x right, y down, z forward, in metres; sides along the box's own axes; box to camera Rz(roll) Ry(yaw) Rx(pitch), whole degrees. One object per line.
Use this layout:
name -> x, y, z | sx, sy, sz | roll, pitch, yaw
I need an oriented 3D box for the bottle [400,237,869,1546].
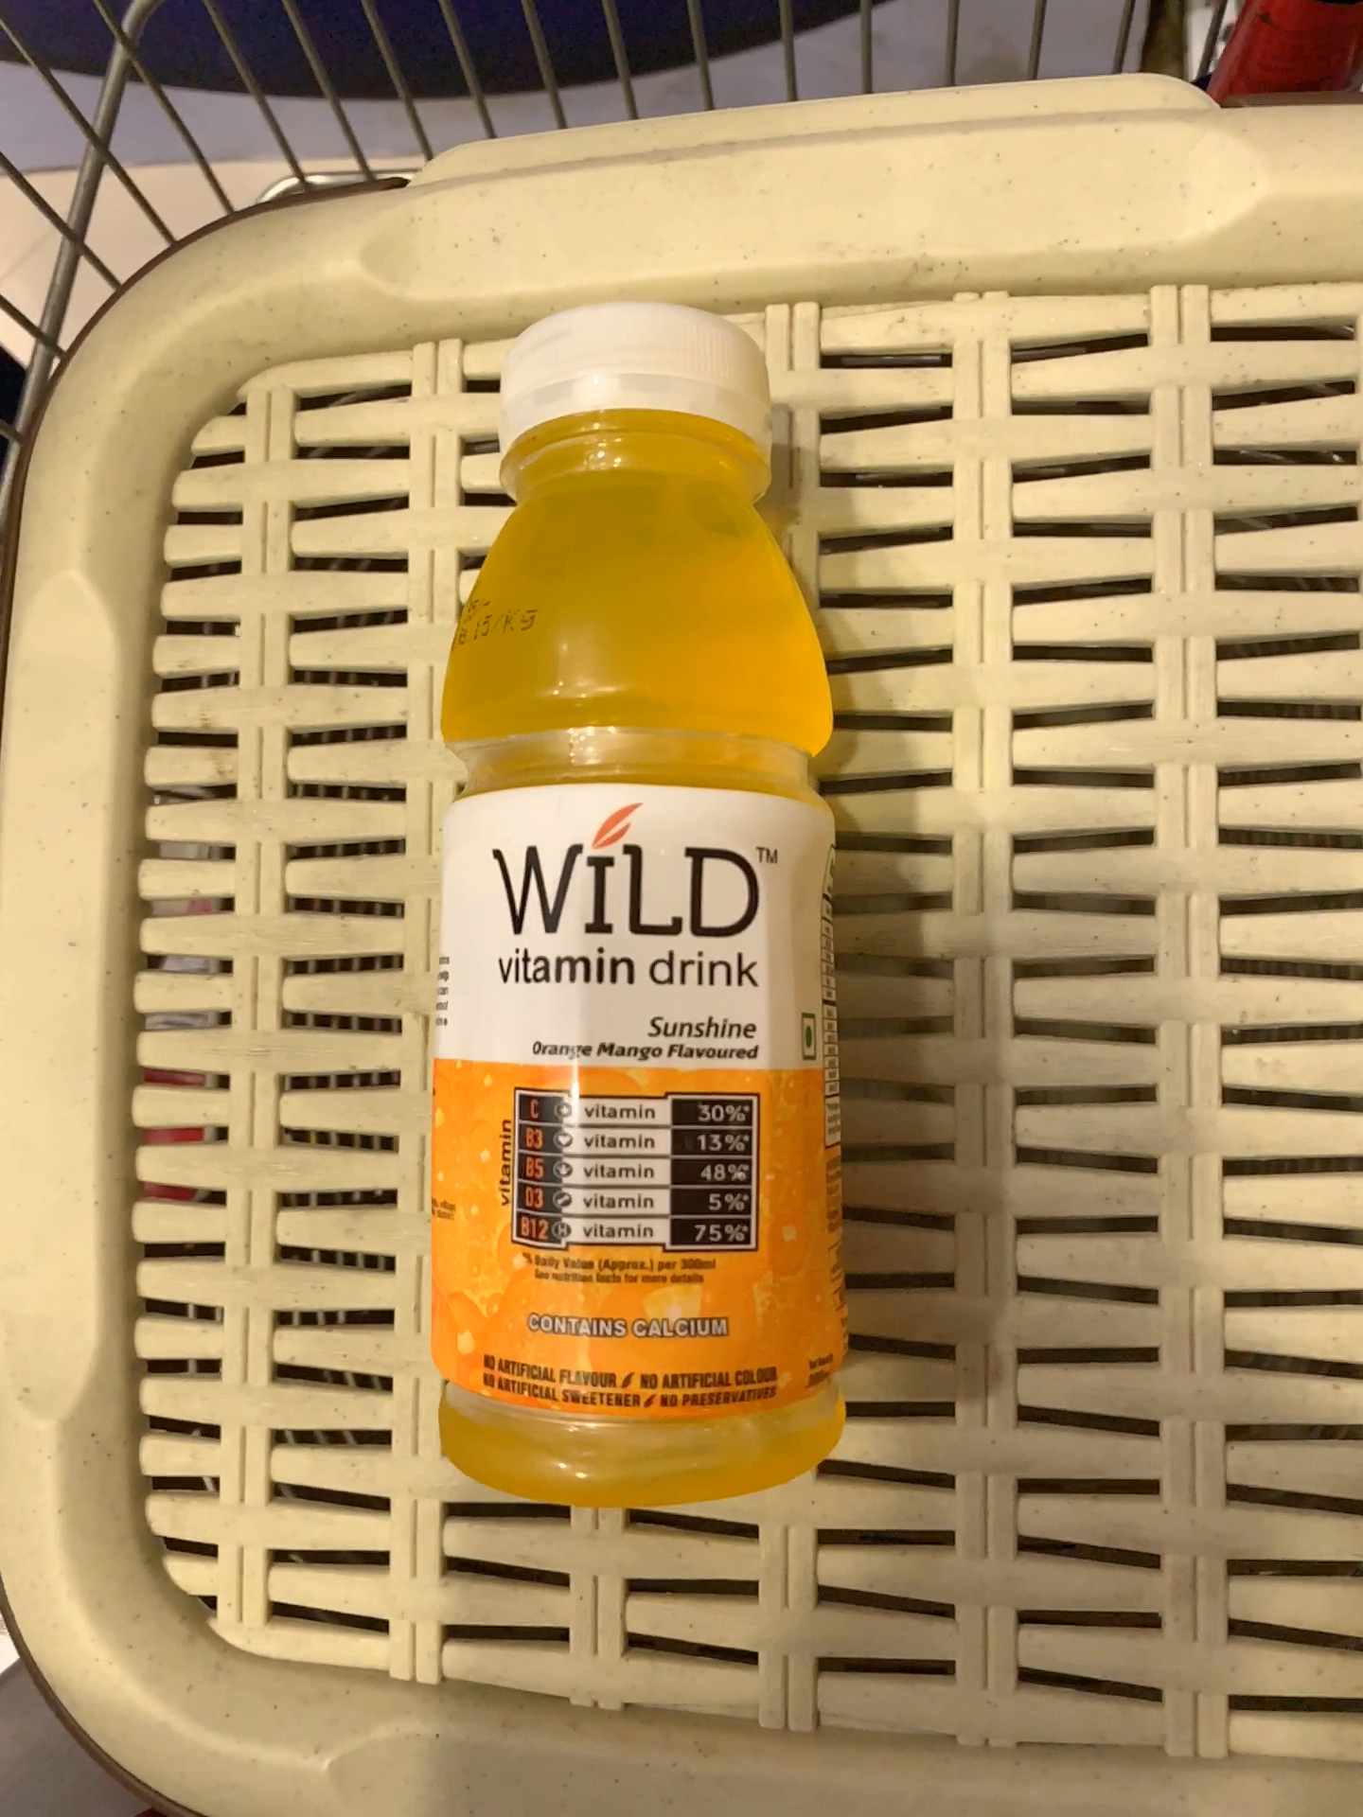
bottle -> -0.008, -0.003, 0.215 | 0.060, 0.060, 0.170 | 0, 87, -3
